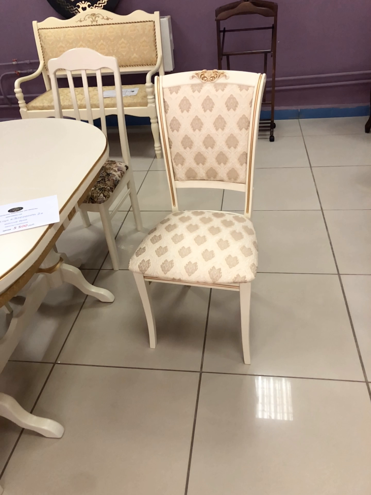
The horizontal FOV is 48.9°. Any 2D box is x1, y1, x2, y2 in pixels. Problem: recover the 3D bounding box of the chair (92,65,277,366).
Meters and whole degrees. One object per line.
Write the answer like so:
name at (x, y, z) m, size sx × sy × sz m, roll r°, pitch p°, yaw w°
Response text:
chair at (0.070, -0.100, 1.499) m, size 0.448 × 0.944 × 0.483 m, roll 5°, pitch 36°, yaw 16°
